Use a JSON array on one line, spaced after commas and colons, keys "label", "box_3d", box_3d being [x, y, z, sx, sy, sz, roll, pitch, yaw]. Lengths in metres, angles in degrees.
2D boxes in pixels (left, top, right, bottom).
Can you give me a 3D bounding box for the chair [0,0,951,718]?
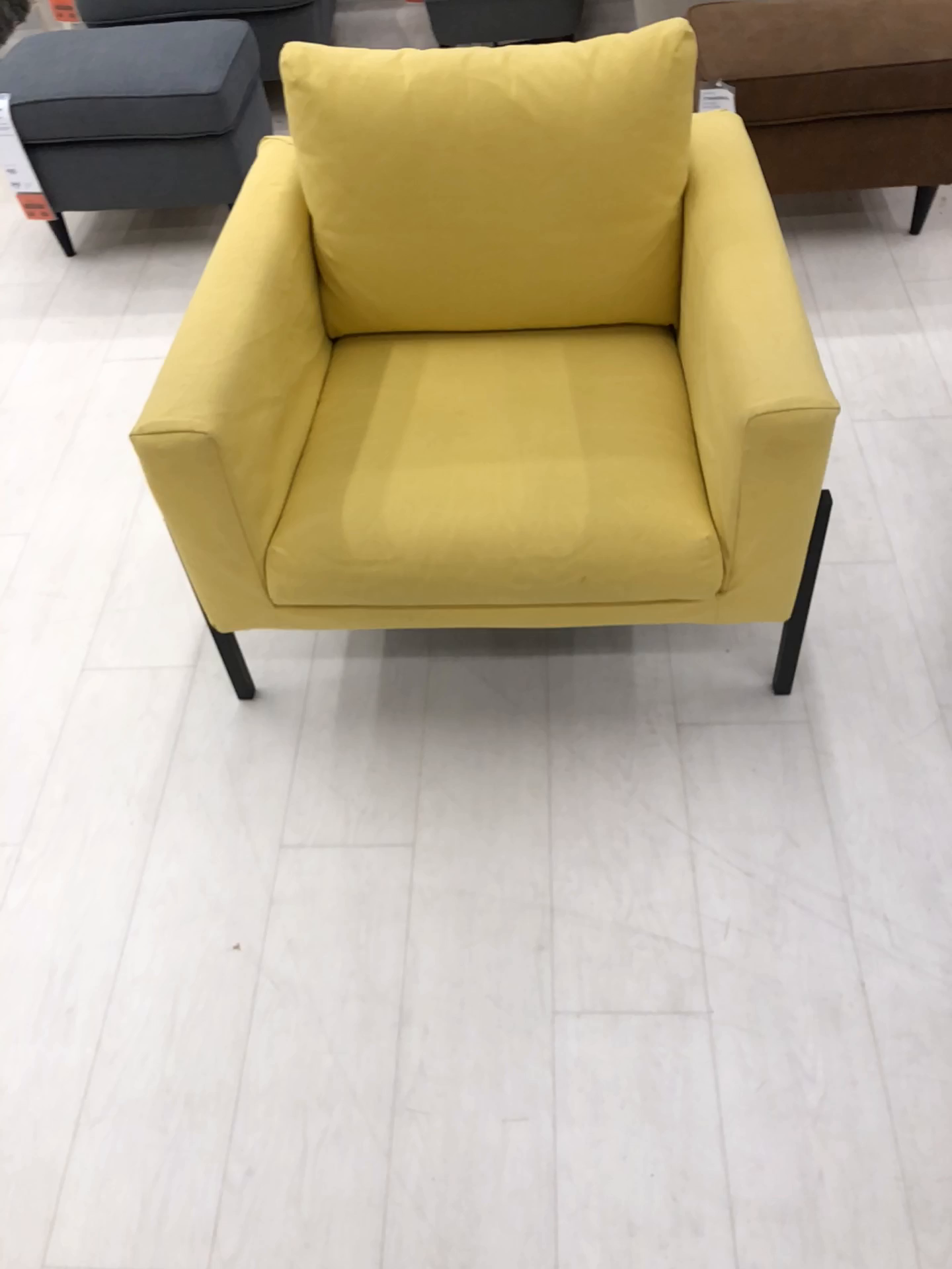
[{"label": "chair", "box_3d": [0.033, -0.384, 1.556, 0.980, 0.757, 0.692, -1, 50, 5]}]
